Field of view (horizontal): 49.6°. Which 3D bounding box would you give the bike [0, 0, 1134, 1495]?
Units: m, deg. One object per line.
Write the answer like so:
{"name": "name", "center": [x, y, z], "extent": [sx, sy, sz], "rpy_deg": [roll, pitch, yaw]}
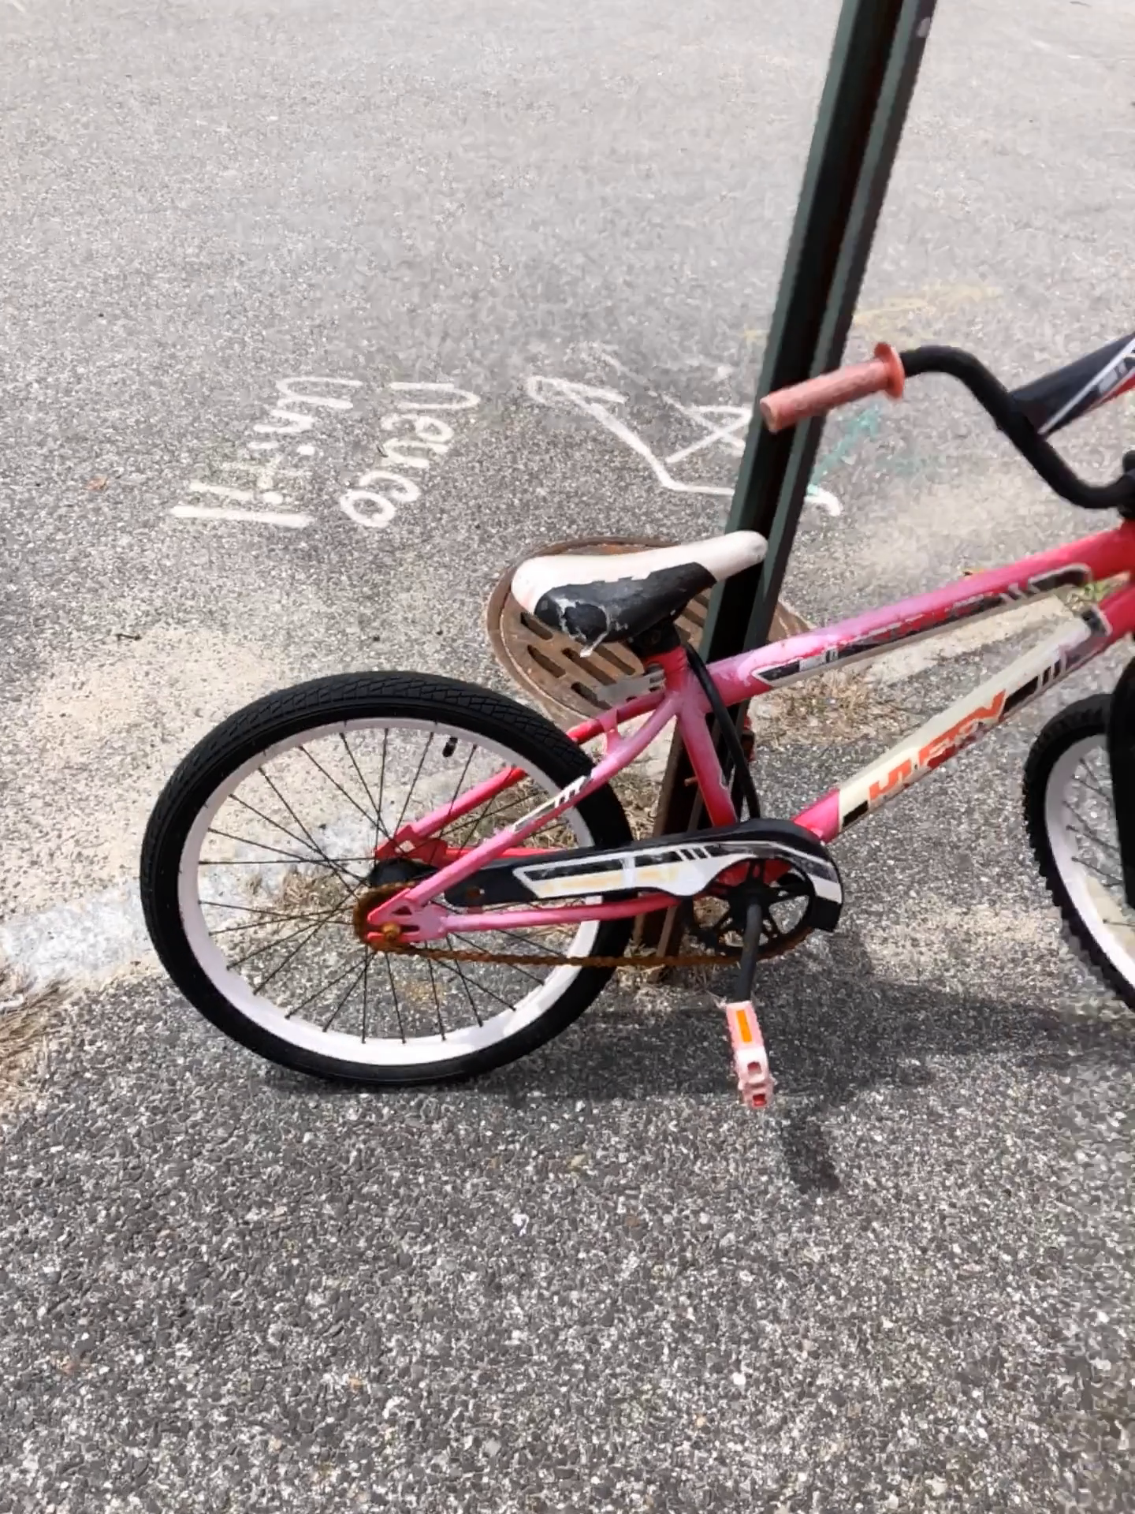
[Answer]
{"name": "bike", "center": [0.209, -0.031, 1.011], "extent": [1.175, 0.887, 0.700], "rpy_deg": [5, 42, -1]}
